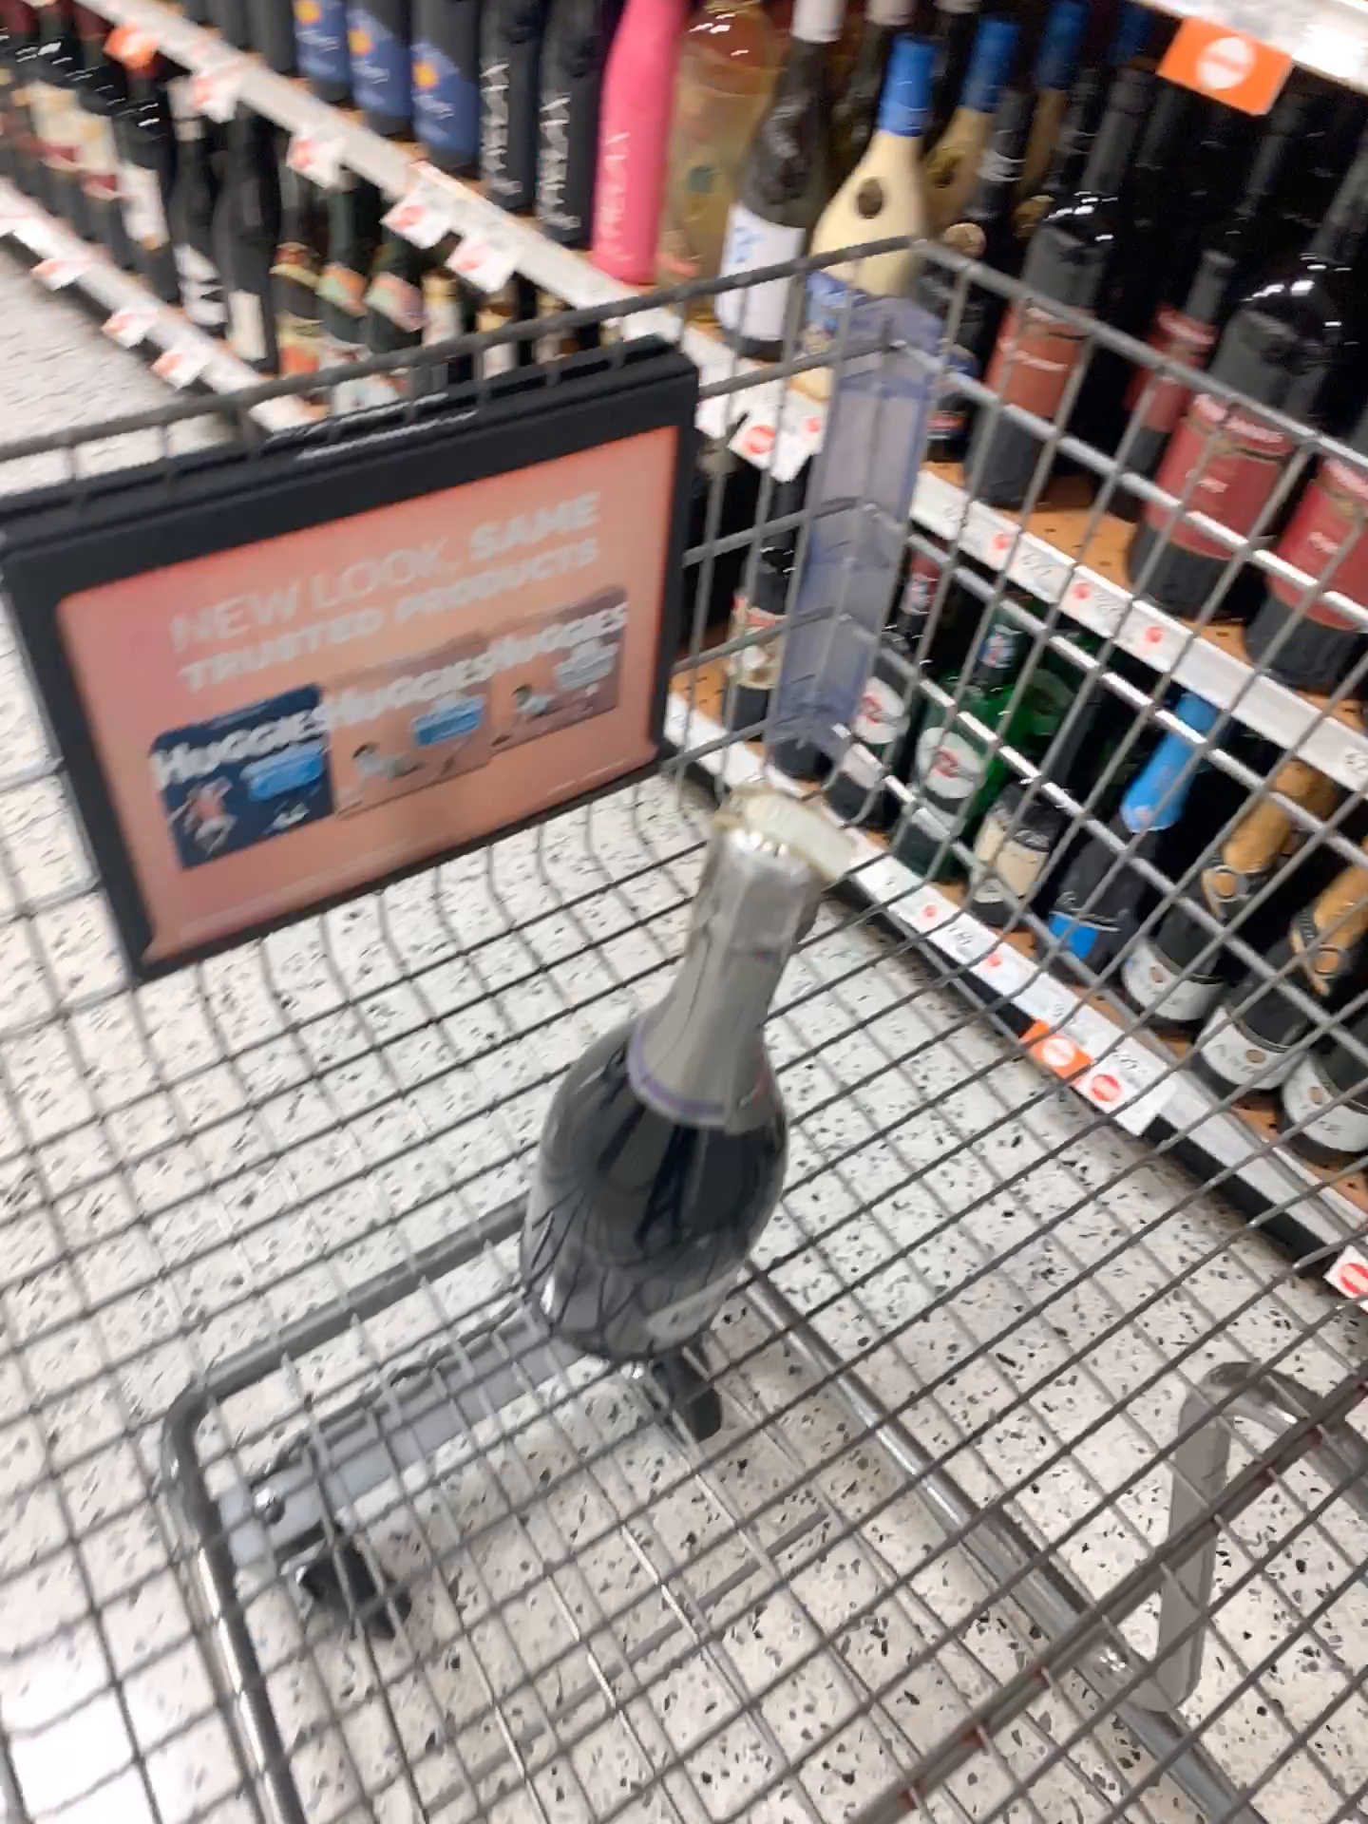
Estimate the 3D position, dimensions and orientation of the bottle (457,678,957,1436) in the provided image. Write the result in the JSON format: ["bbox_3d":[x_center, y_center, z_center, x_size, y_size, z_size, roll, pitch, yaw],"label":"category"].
[{"bbox_3d":[-0.007,0.074,0.544,0.110,0.297,0.111,4,50,-5],"label":"bottle"}]
